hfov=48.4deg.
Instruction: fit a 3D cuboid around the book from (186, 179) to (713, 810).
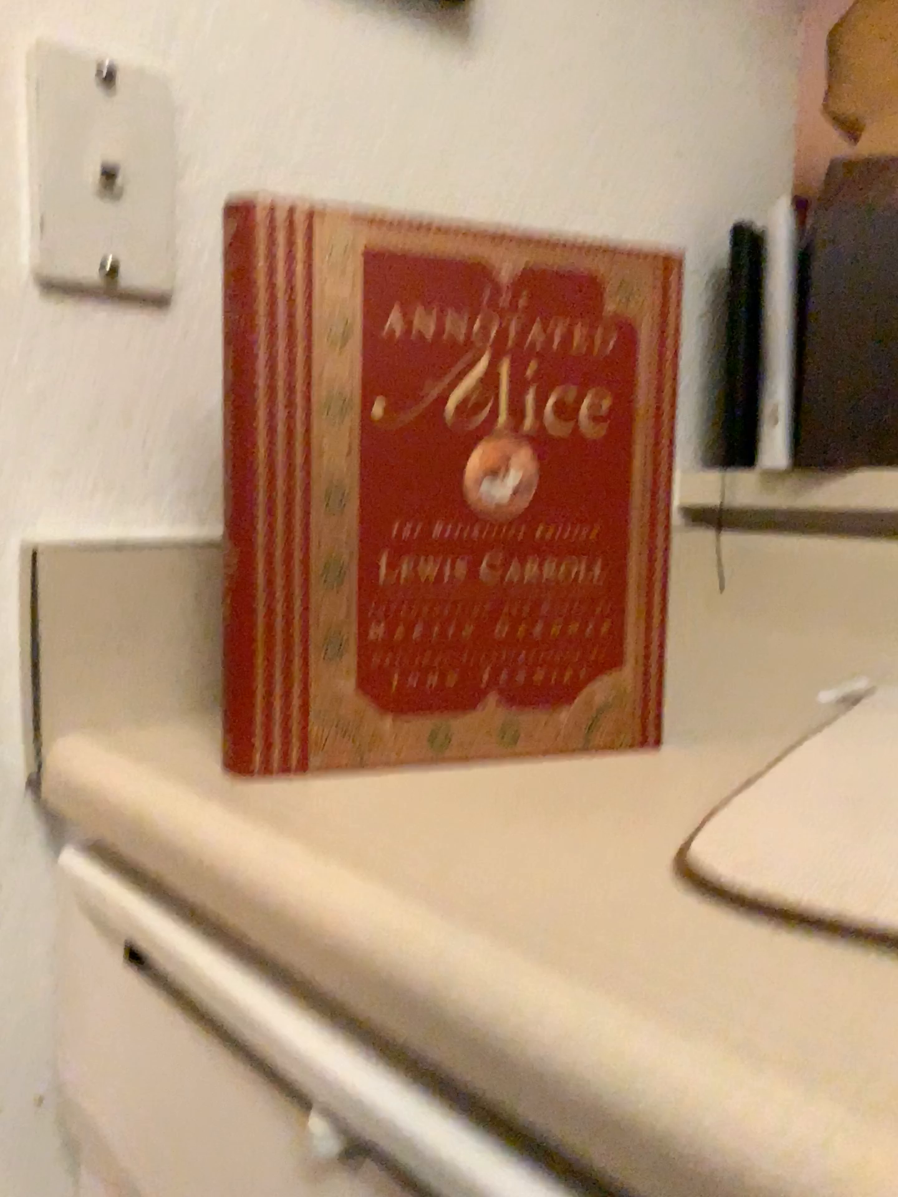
[{"bbox_3d":[-0.007,-0.050,0.529,0.230,0.260,0.150,-2,7,-24],"label":"book"}]
